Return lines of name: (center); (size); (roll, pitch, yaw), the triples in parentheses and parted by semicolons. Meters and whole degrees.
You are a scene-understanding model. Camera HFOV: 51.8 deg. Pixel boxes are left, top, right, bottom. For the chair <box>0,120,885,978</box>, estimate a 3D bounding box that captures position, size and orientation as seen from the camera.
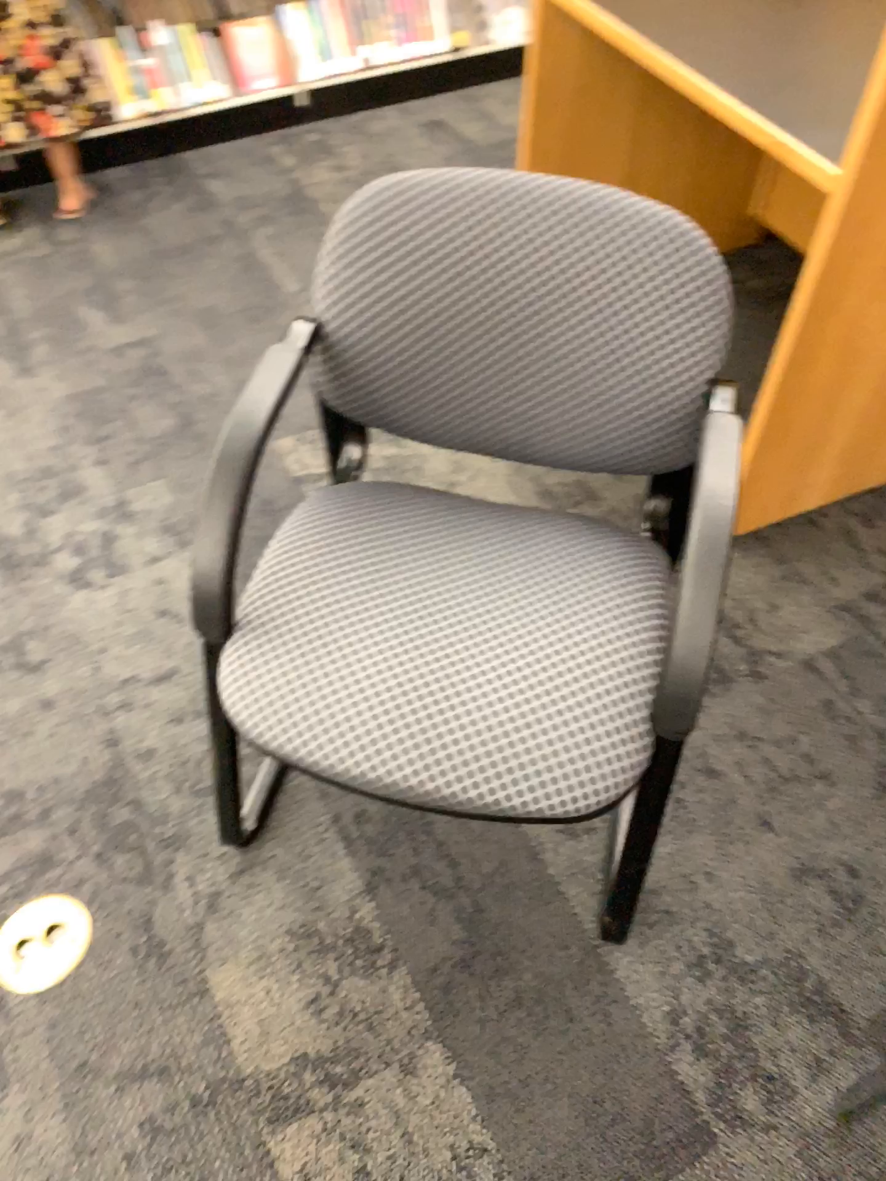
chair: (0.042, -0.064, 1.179); (0.730, 0.677, 0.722); (11, 51, 9)
